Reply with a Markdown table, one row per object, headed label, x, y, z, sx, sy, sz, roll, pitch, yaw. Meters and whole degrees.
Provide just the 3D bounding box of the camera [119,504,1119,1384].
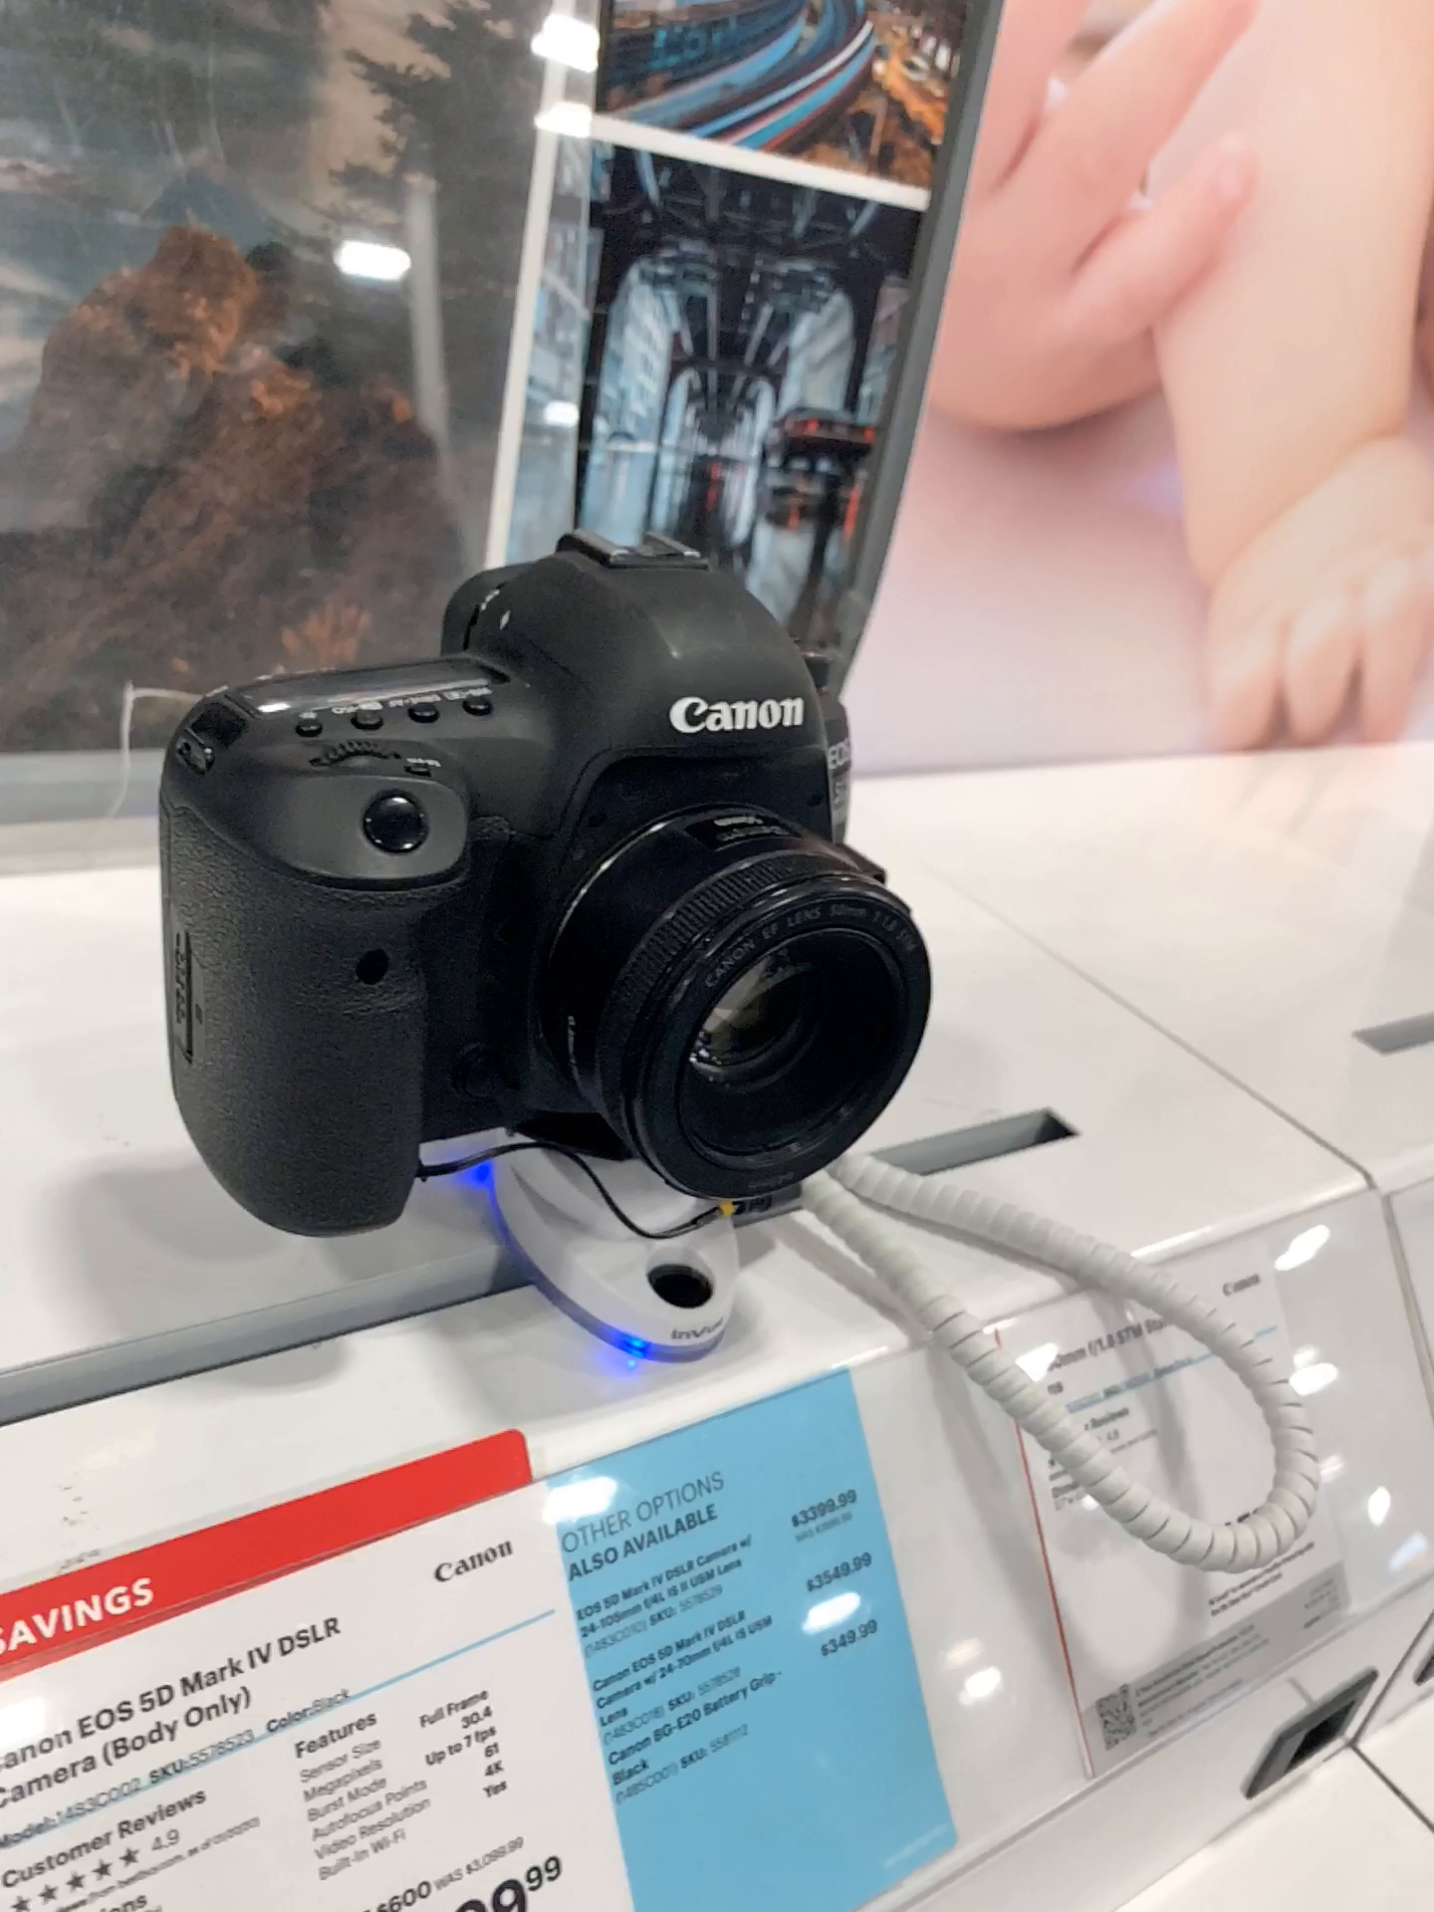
| label | x | y | z | sx | sy | sz | roll | pitch | yaw |
| --- | --- | --- | --- | --- | --- | --- | --- | --- | --- |
| camera | -0.027 | -0.015 | 0.286 | 0.140 | 0.106 | 0.112 | -8 | 33 | -33 |
